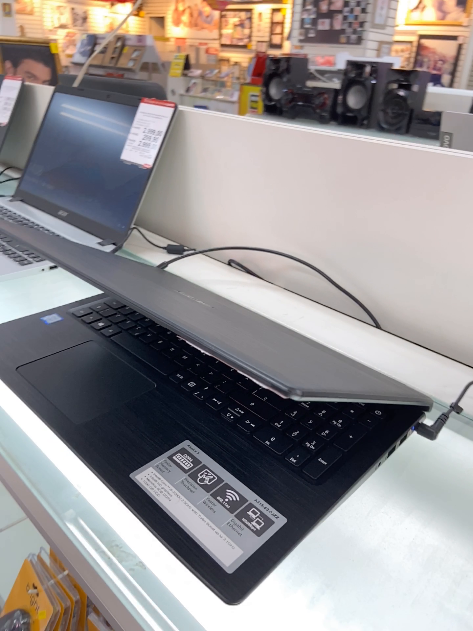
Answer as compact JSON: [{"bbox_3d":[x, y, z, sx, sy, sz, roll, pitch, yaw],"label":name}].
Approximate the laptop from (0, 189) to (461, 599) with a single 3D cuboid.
[{"bbox_3d":[-0.054,0.000,0.429,0.381,0.118,0.237,26,34,37],"label":"laptop"}]
